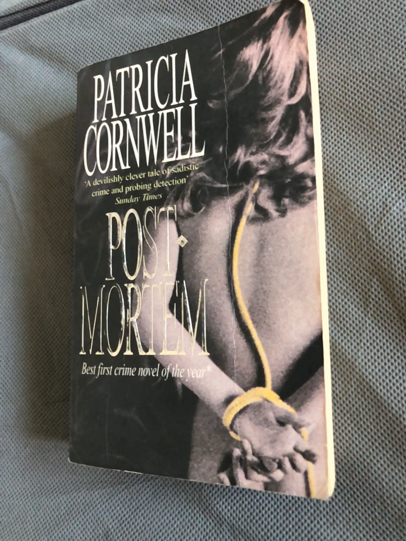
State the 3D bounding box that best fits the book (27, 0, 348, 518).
[{"bbox_3d":[-0.005,-0.013,0.184,0.110,0.050,0.180,-4,80,23],"label":"book"}]
